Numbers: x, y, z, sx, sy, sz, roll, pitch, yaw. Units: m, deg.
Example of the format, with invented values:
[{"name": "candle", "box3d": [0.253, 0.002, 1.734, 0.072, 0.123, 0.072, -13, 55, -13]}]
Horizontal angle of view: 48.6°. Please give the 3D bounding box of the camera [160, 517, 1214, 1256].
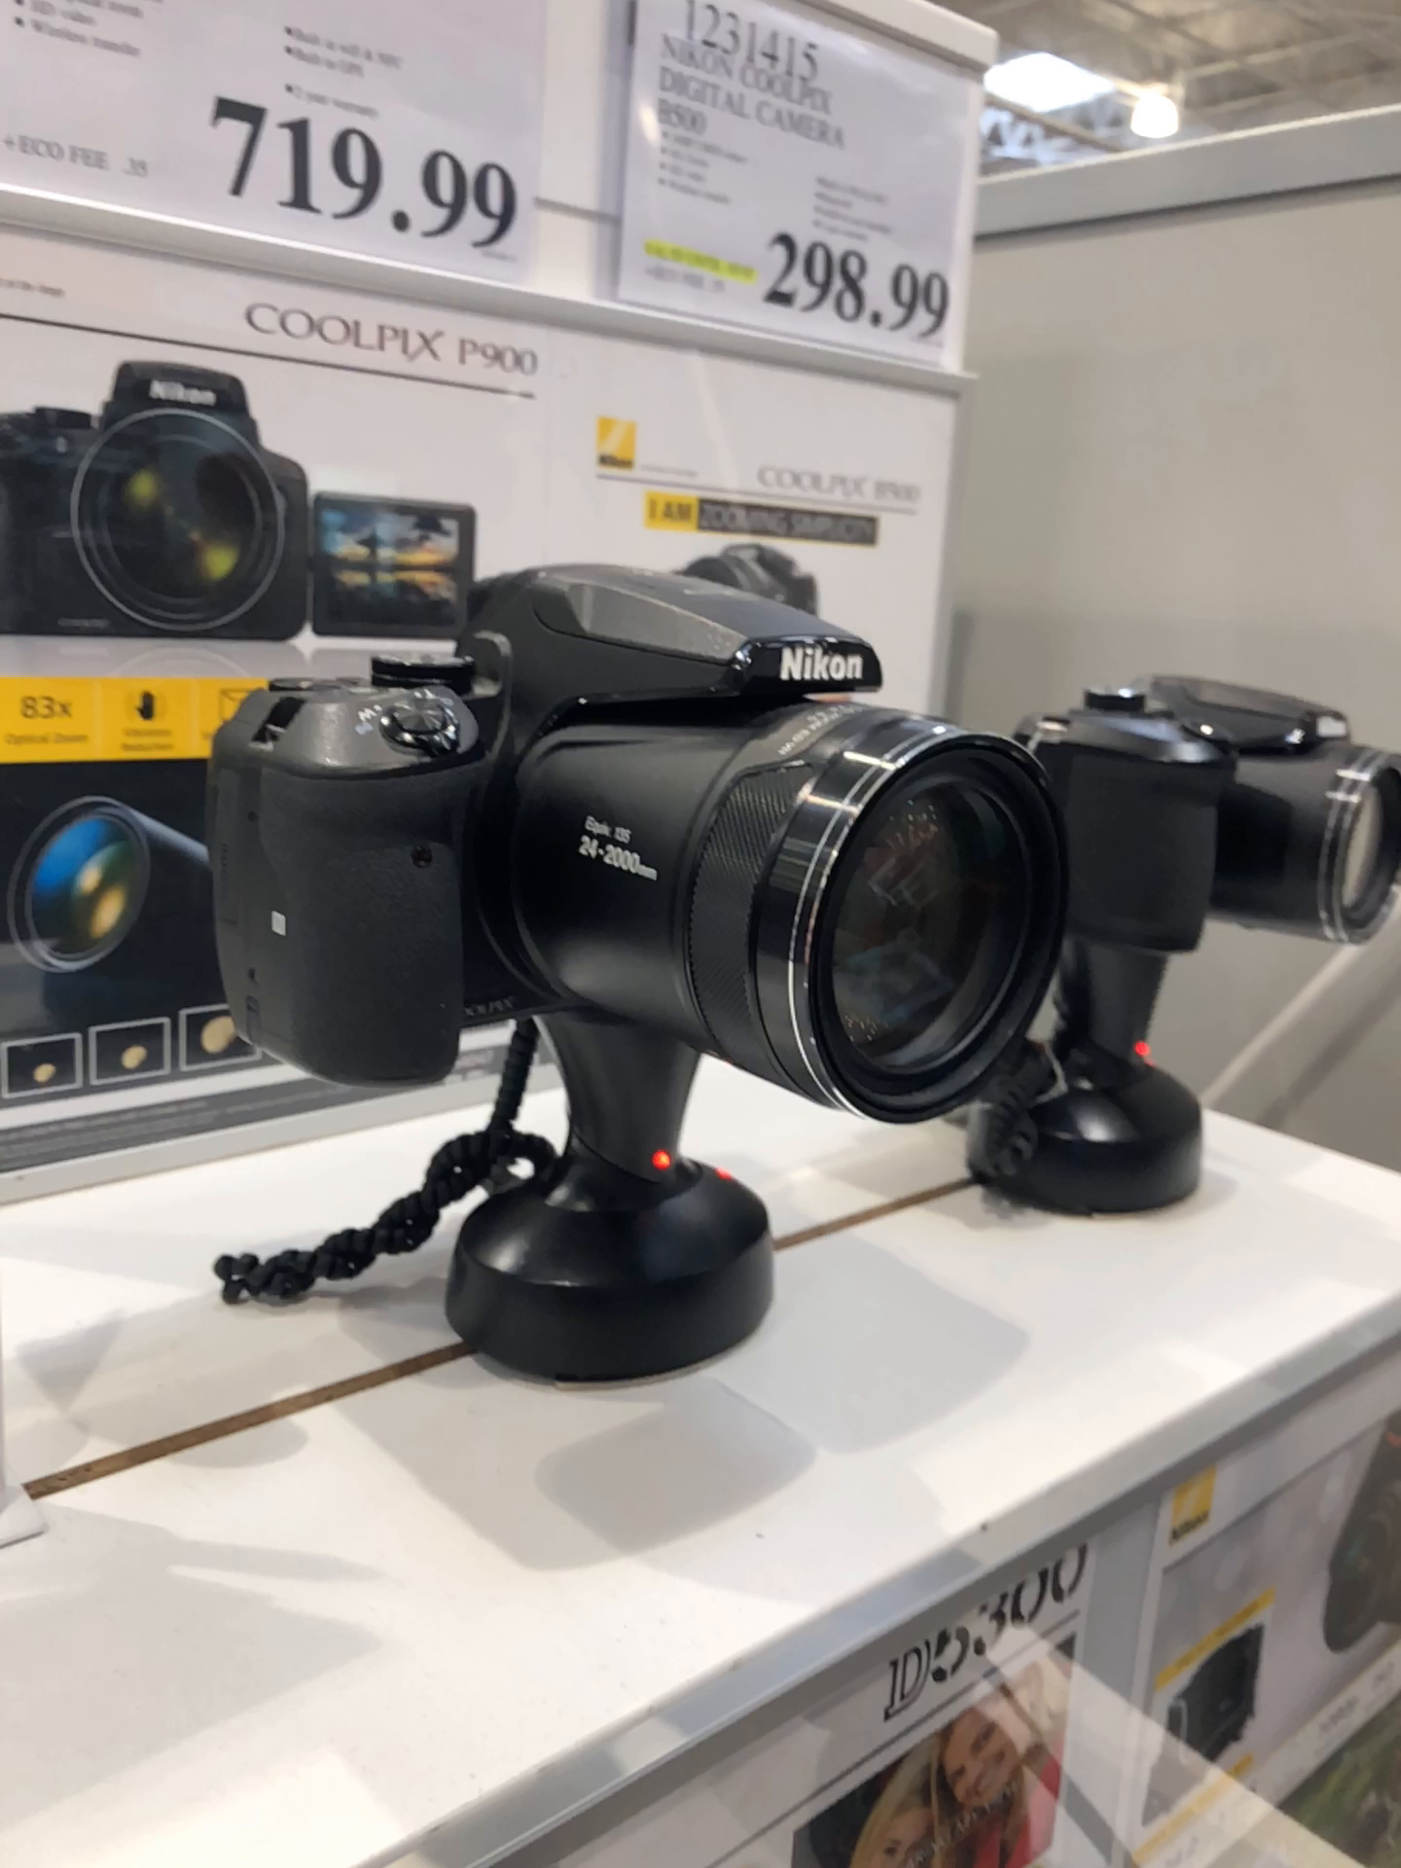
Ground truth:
[{"name": "camera", "box3d": [-0.007, -0.026, 0.312, 0.150, 0.100, 0.140, -8, 18, -40]}]
